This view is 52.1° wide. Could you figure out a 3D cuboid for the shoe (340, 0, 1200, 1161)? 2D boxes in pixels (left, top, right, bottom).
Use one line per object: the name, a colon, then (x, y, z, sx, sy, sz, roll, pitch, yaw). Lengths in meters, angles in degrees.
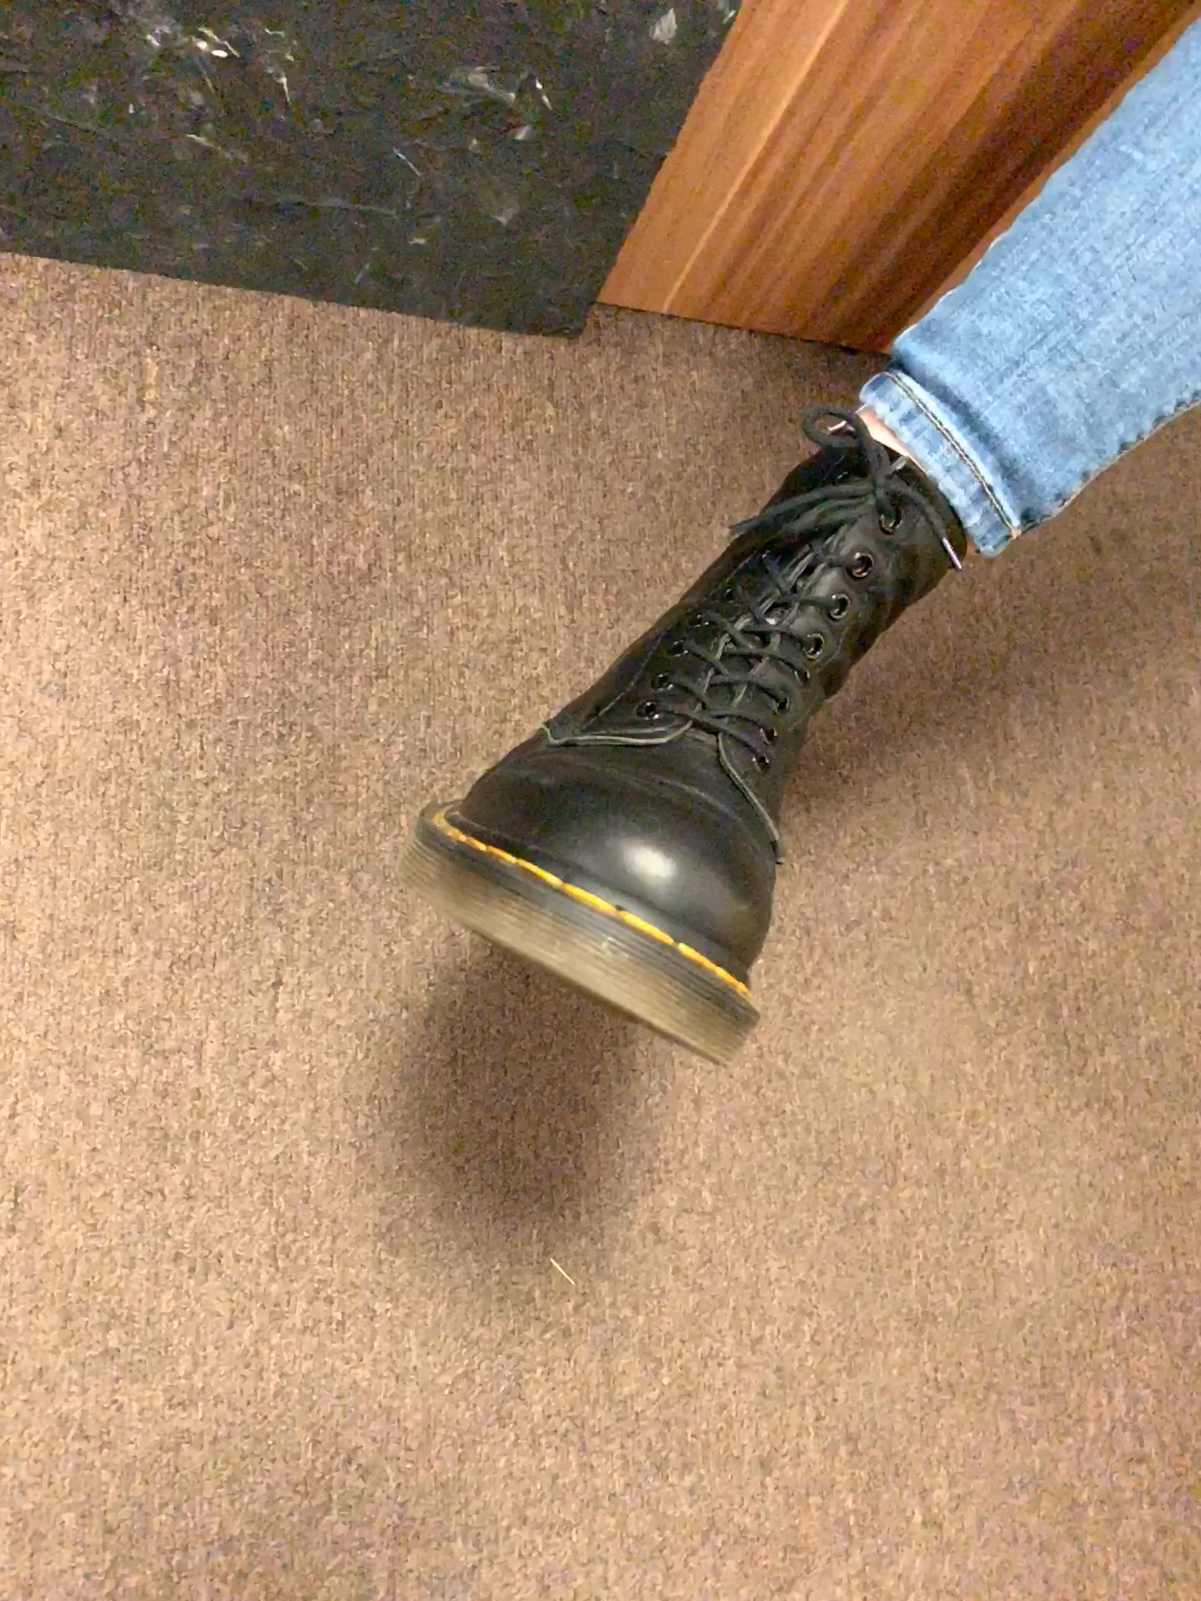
shoe: (0.049, -0.071, 0.447, 0.120, 0.370, 0.230, 36, 95, -8)
